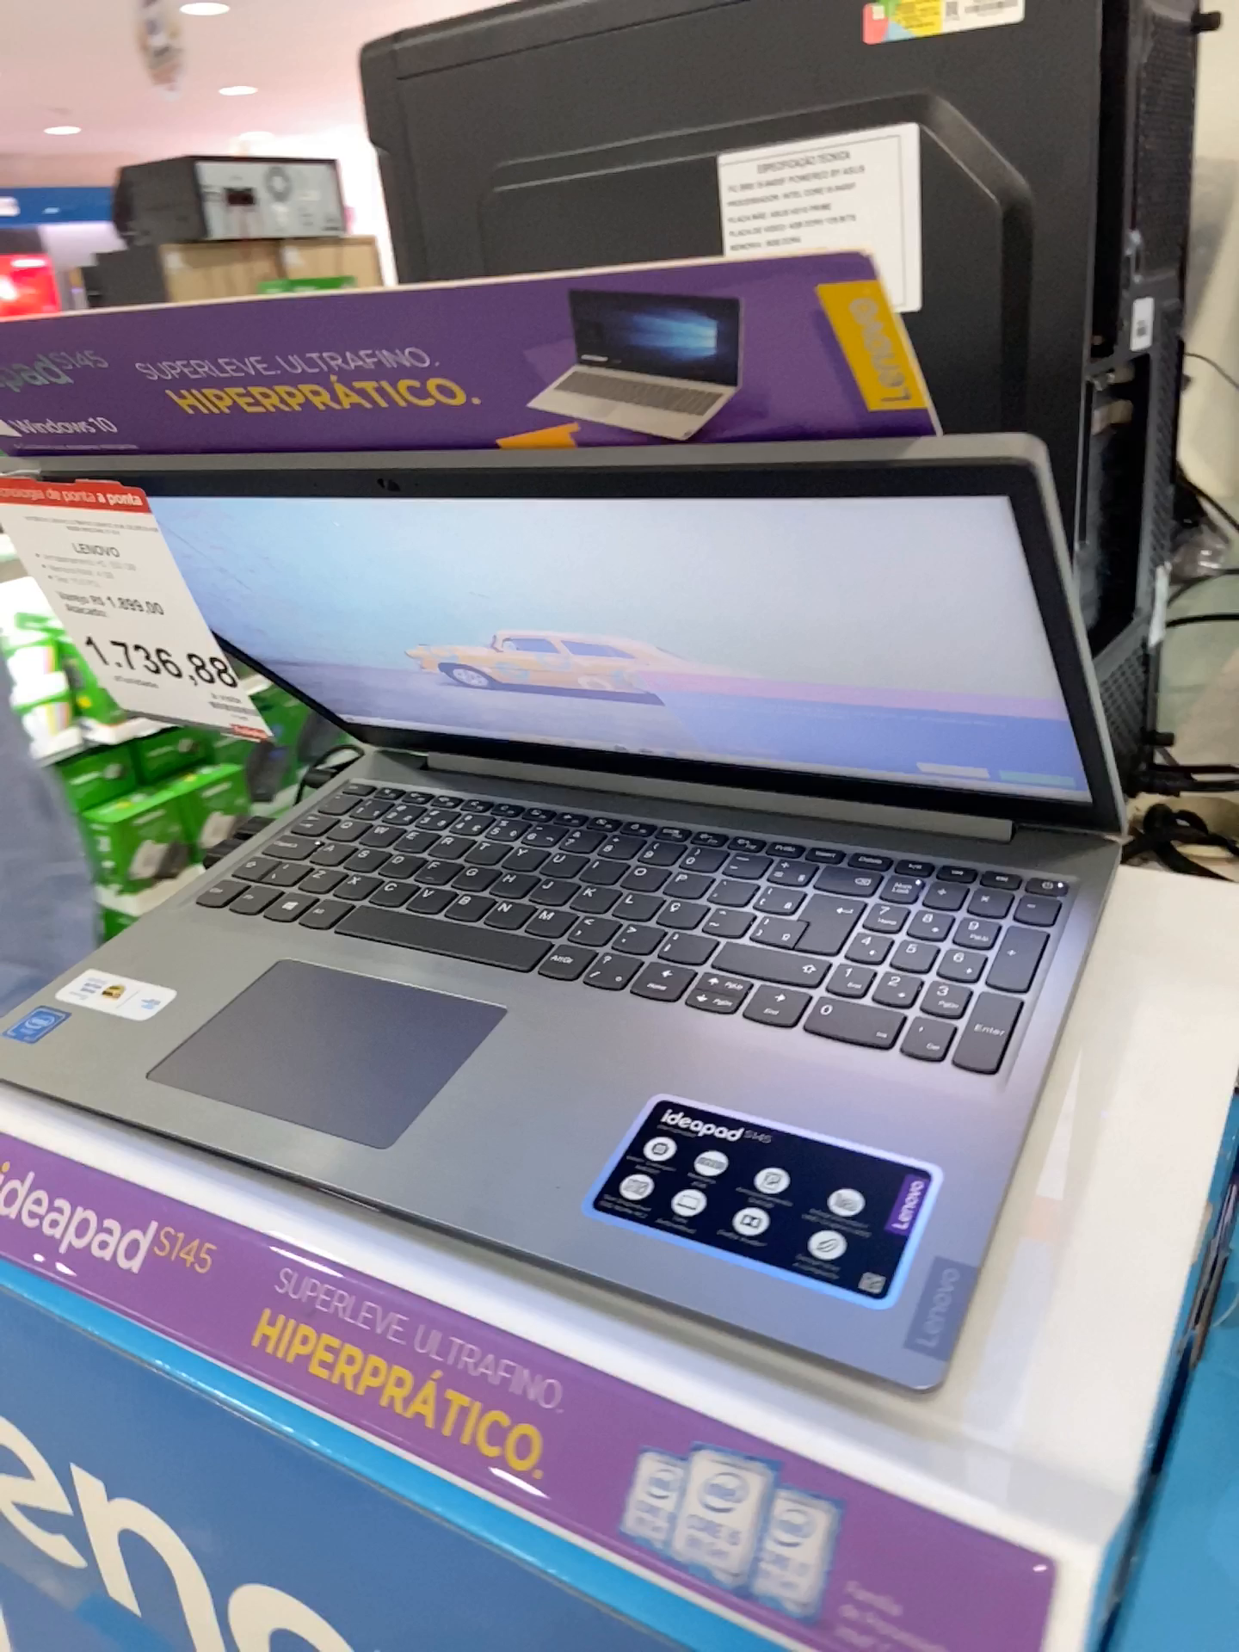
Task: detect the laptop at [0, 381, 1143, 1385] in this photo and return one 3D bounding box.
[{"bbox_3d":[-0.035,-0.030,0.437,0.356,0.161,0.245,8,31,28],"label":"laptop"}]
